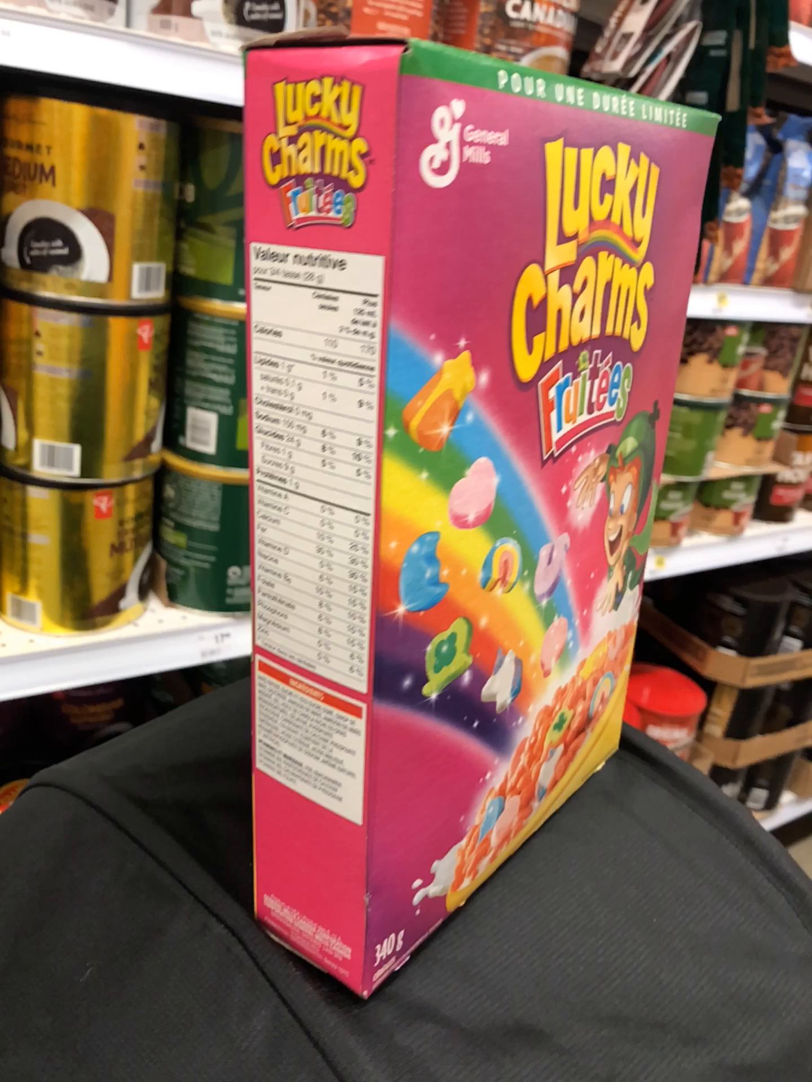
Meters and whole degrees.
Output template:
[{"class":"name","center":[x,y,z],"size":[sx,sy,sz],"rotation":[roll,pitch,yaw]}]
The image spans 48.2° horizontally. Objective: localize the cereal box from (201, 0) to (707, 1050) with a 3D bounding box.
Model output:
[{"class":"cereal box","center":[0.021,-0.009,0.334],"size":[0.060,0.299,0.201],"rotation":[17,24,31]}]
